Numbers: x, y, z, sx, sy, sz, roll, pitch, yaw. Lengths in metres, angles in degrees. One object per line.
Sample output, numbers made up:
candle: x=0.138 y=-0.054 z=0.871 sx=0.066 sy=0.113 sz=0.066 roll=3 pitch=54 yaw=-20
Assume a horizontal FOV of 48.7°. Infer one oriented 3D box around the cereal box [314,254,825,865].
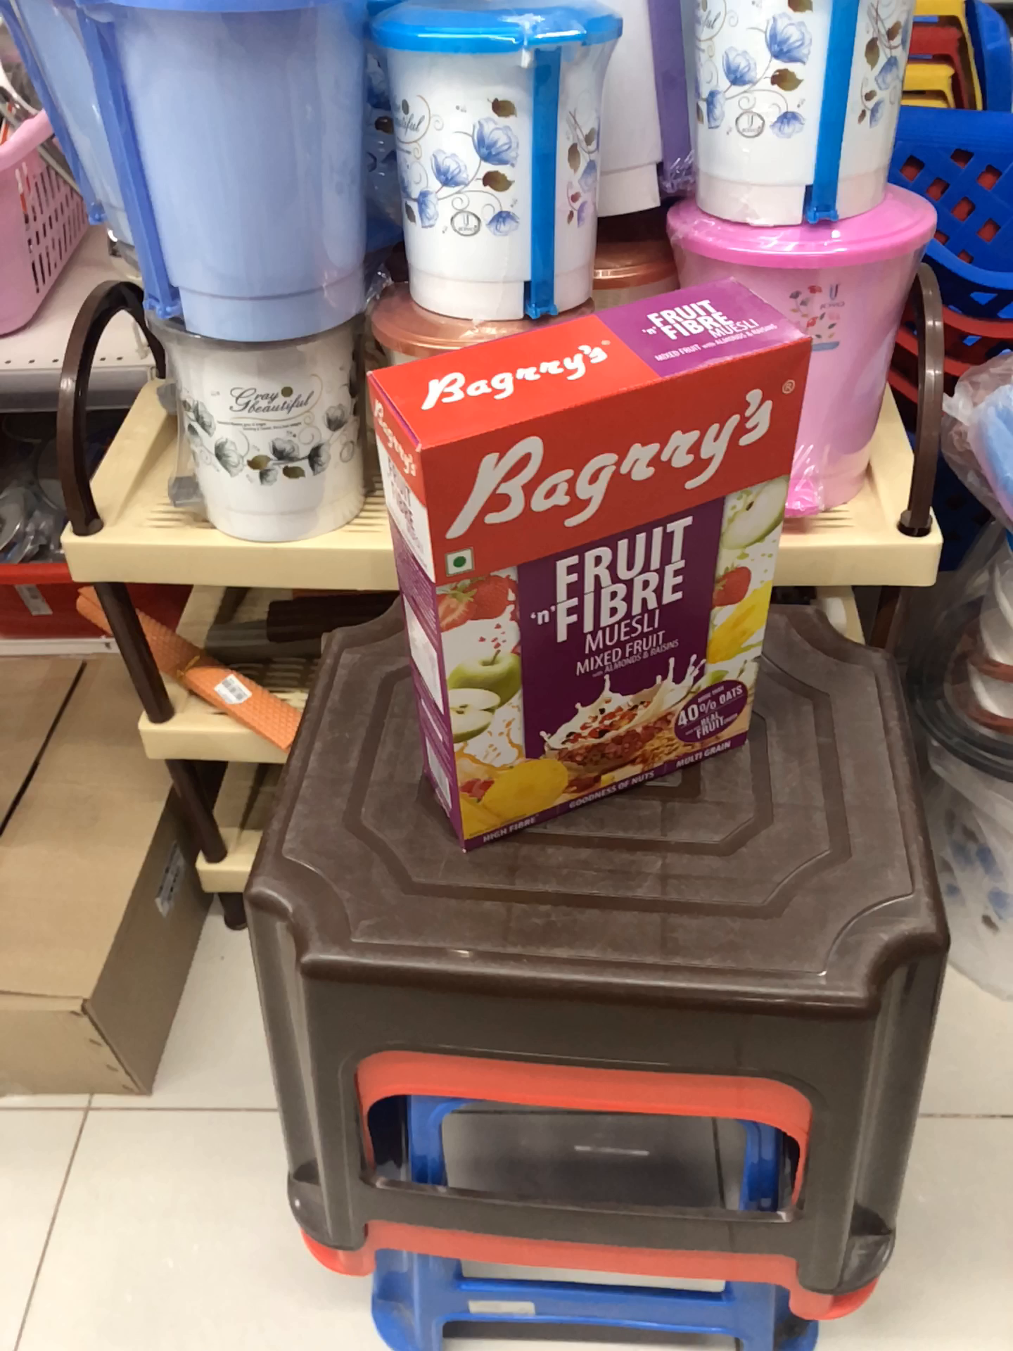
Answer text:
cereal box: x=0.033 y=-0.046 z=0.551 sx=0.200 sy=0.259 sz=0.070 roll=-19 pitch=46 yaw=-15
